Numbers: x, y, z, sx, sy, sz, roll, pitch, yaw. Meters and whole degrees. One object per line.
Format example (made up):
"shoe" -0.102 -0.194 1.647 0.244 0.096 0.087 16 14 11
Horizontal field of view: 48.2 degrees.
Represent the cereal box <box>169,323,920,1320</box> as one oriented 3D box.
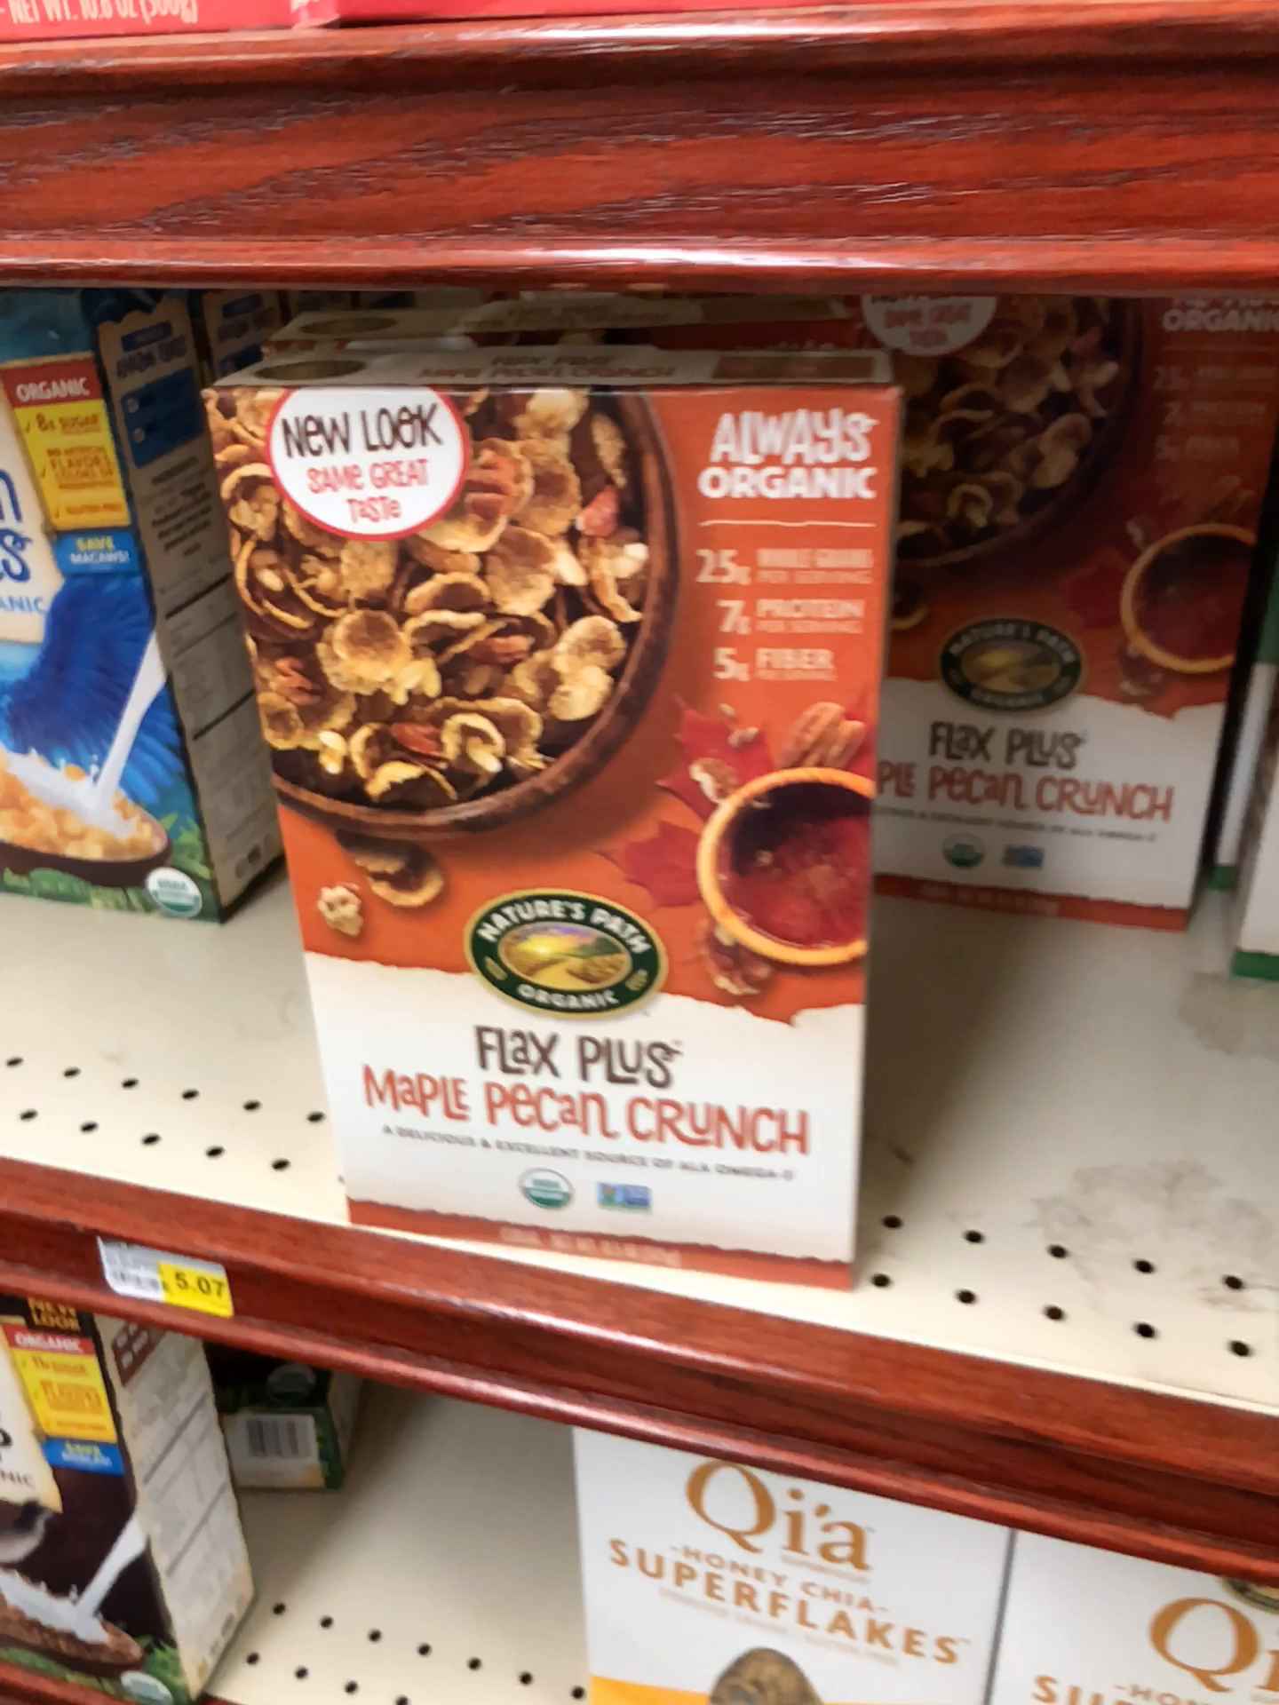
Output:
"cereal box" -0.014 -0.001 0.387 0.160 0.259 0.060 4 29 12
